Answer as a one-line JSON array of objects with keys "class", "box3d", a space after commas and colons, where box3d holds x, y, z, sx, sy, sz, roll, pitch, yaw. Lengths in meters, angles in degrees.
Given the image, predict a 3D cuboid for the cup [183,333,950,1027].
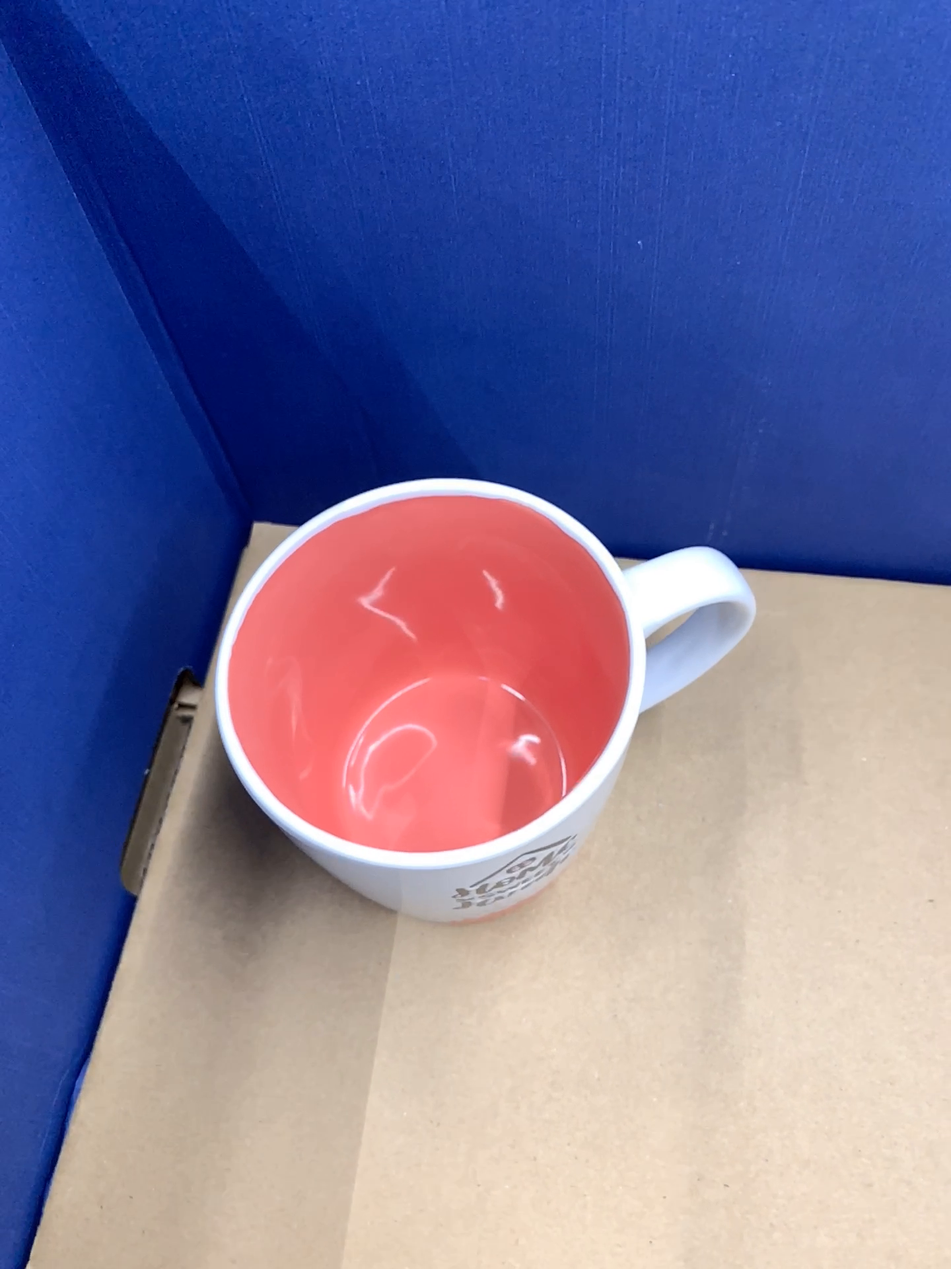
[{"class": "cup", "box3d": [0.016, 0.010, 0.212, 0.115, 0.070, 0.083, -27, 61, -10]}]
